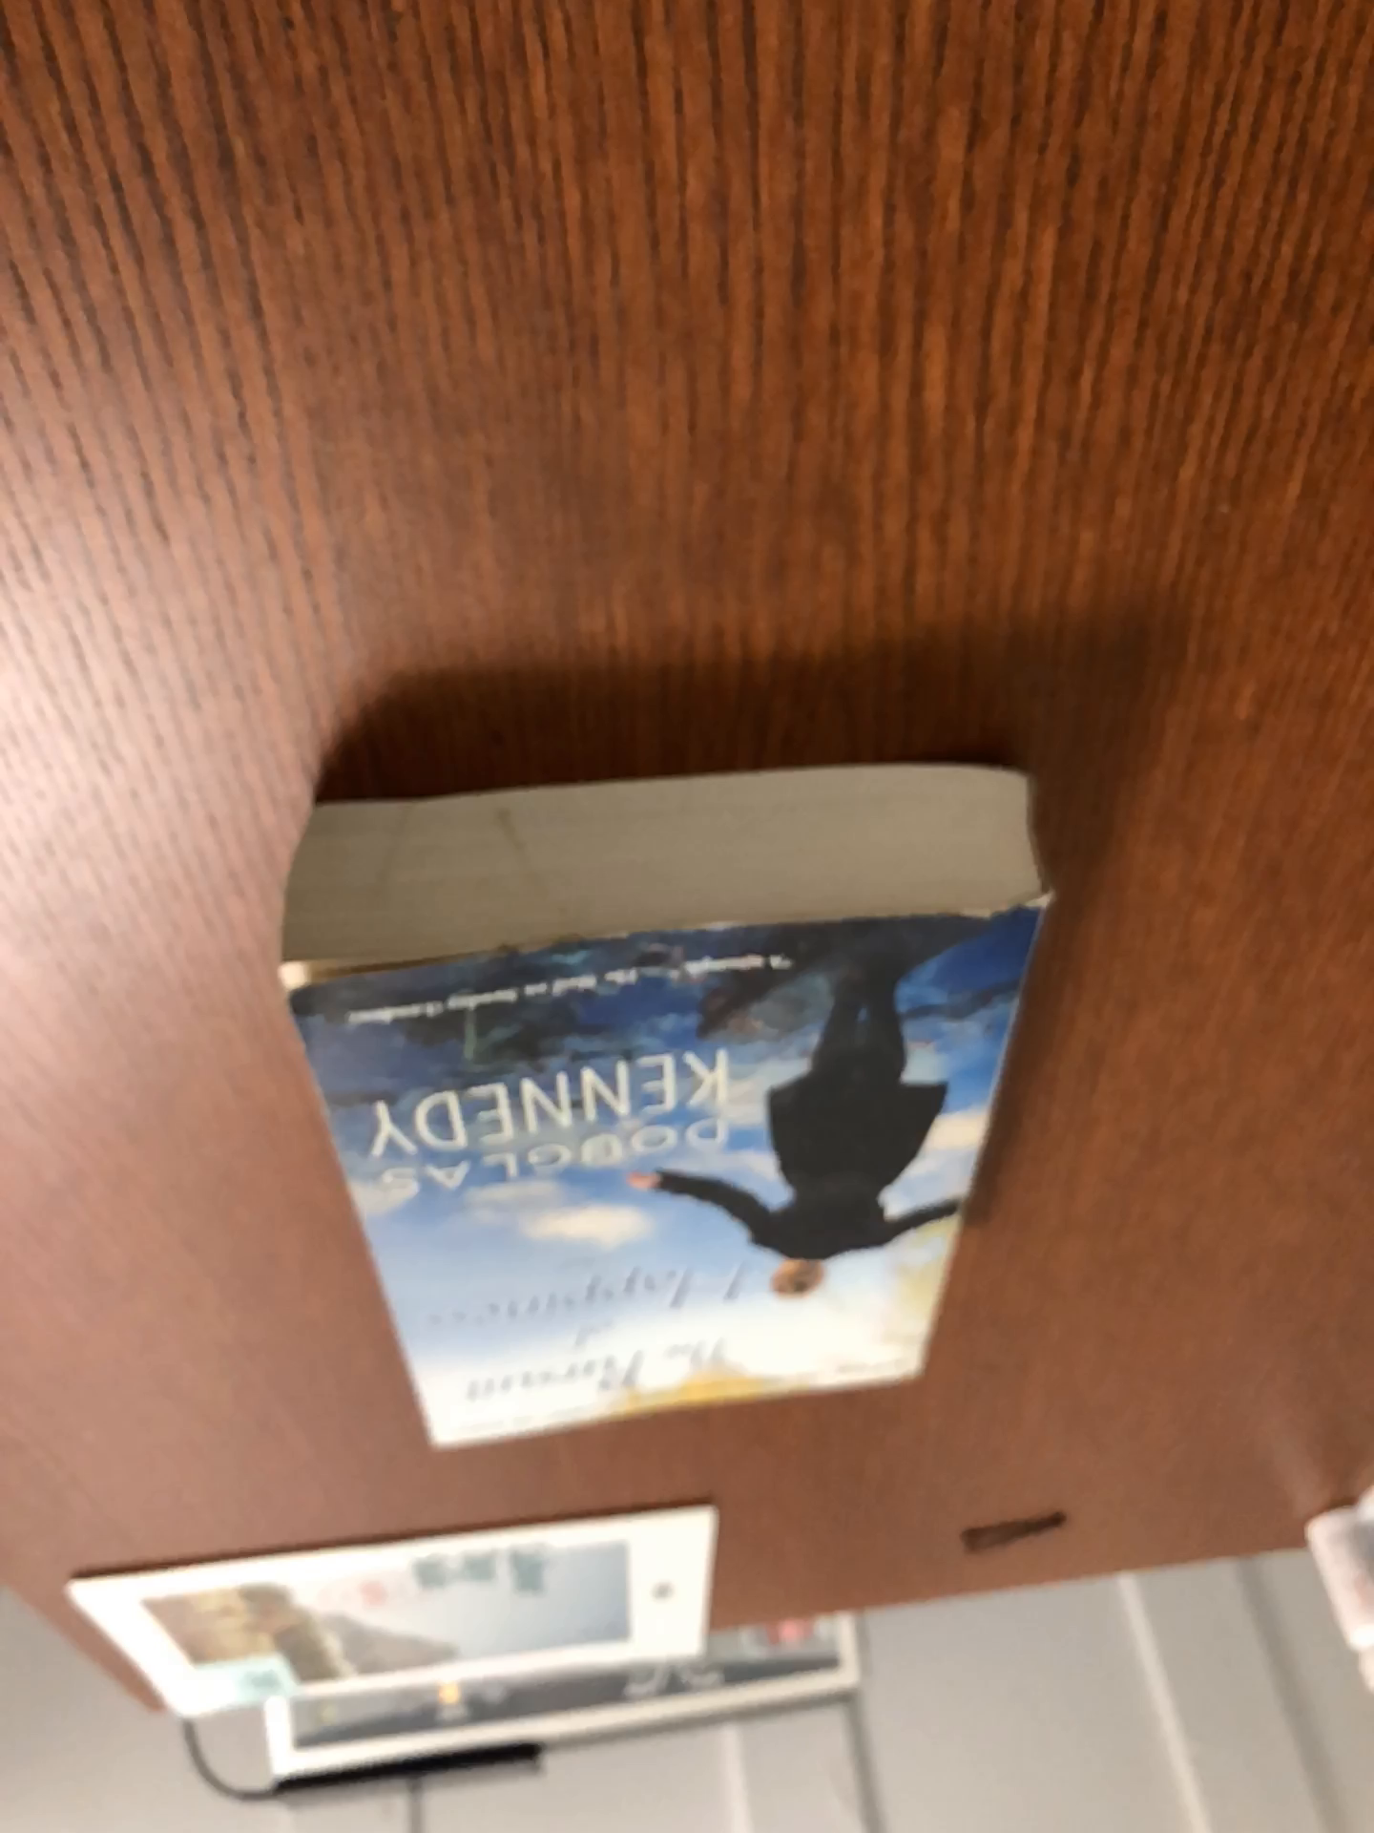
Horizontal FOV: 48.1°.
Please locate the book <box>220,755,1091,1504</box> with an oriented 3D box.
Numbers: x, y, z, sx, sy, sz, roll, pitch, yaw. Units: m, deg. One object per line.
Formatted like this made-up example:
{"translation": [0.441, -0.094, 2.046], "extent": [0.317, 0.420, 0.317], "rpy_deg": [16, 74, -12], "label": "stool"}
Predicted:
{"translation": [-0.007, 0.071, 0.389], "extent": [0.160, 0.050, 0.241], "rpy_deg": [-5, 140, -5], "label": "book"}
